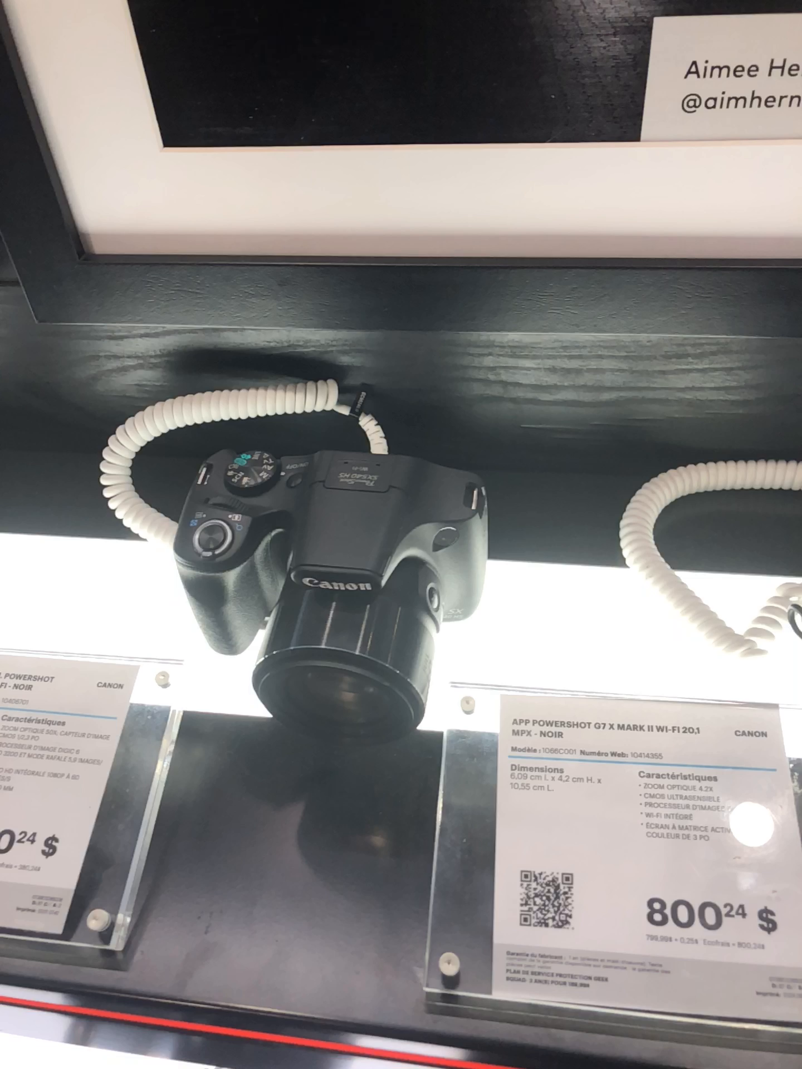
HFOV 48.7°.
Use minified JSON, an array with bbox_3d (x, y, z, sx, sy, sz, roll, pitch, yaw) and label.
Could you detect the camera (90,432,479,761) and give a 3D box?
[{"bbox_3d":[-0.034,0.024,0.341,0.122,0.099,0.071,3,44,8],"label":"camera"}]
